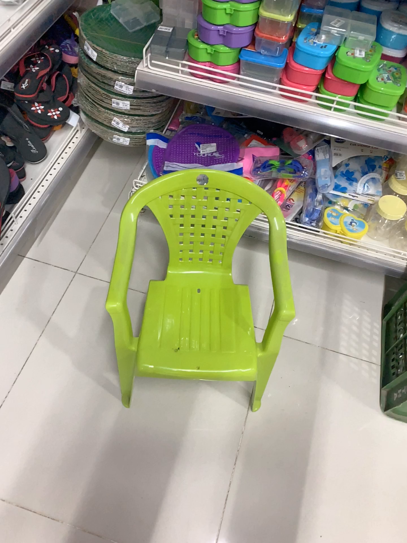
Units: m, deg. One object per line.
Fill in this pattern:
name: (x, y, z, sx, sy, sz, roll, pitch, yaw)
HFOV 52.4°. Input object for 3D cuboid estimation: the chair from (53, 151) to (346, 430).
chair: (-0.008, 0.075, 0.846, 0.390, 0.469, 0.361, 4, 58, -1)
